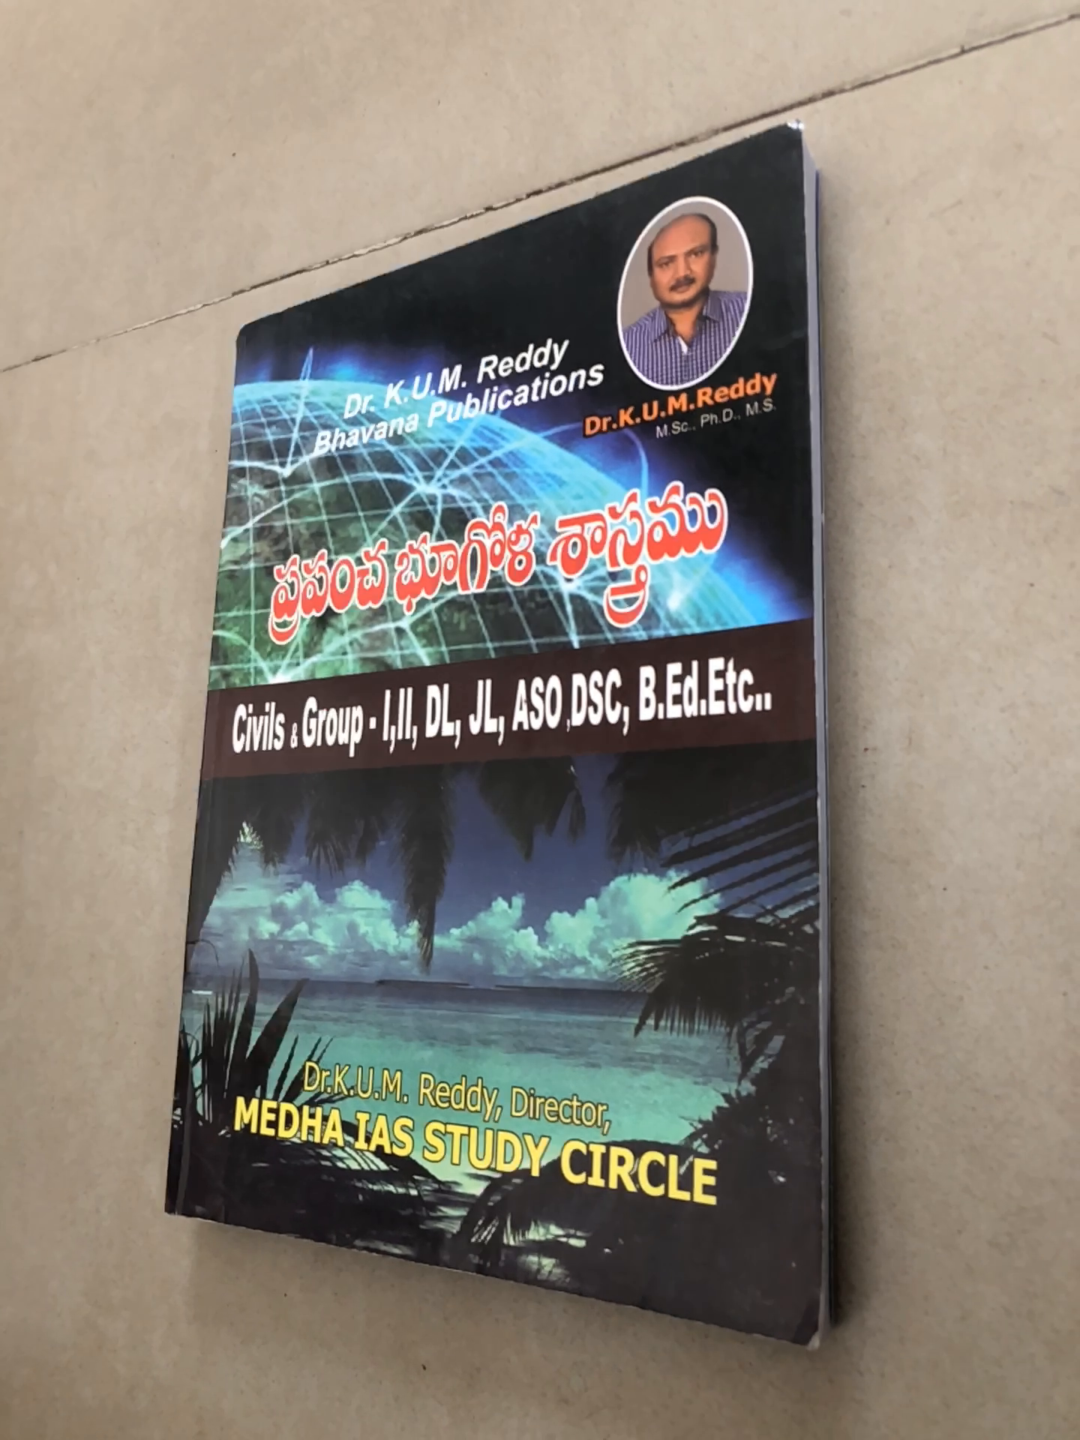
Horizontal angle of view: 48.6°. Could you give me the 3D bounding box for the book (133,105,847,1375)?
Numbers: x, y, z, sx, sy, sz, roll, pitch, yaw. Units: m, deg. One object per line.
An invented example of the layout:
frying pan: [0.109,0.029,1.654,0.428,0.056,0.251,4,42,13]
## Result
book: [-0.020,0.001,0.301,0.181,0.030,0.260,-5,78,32]
